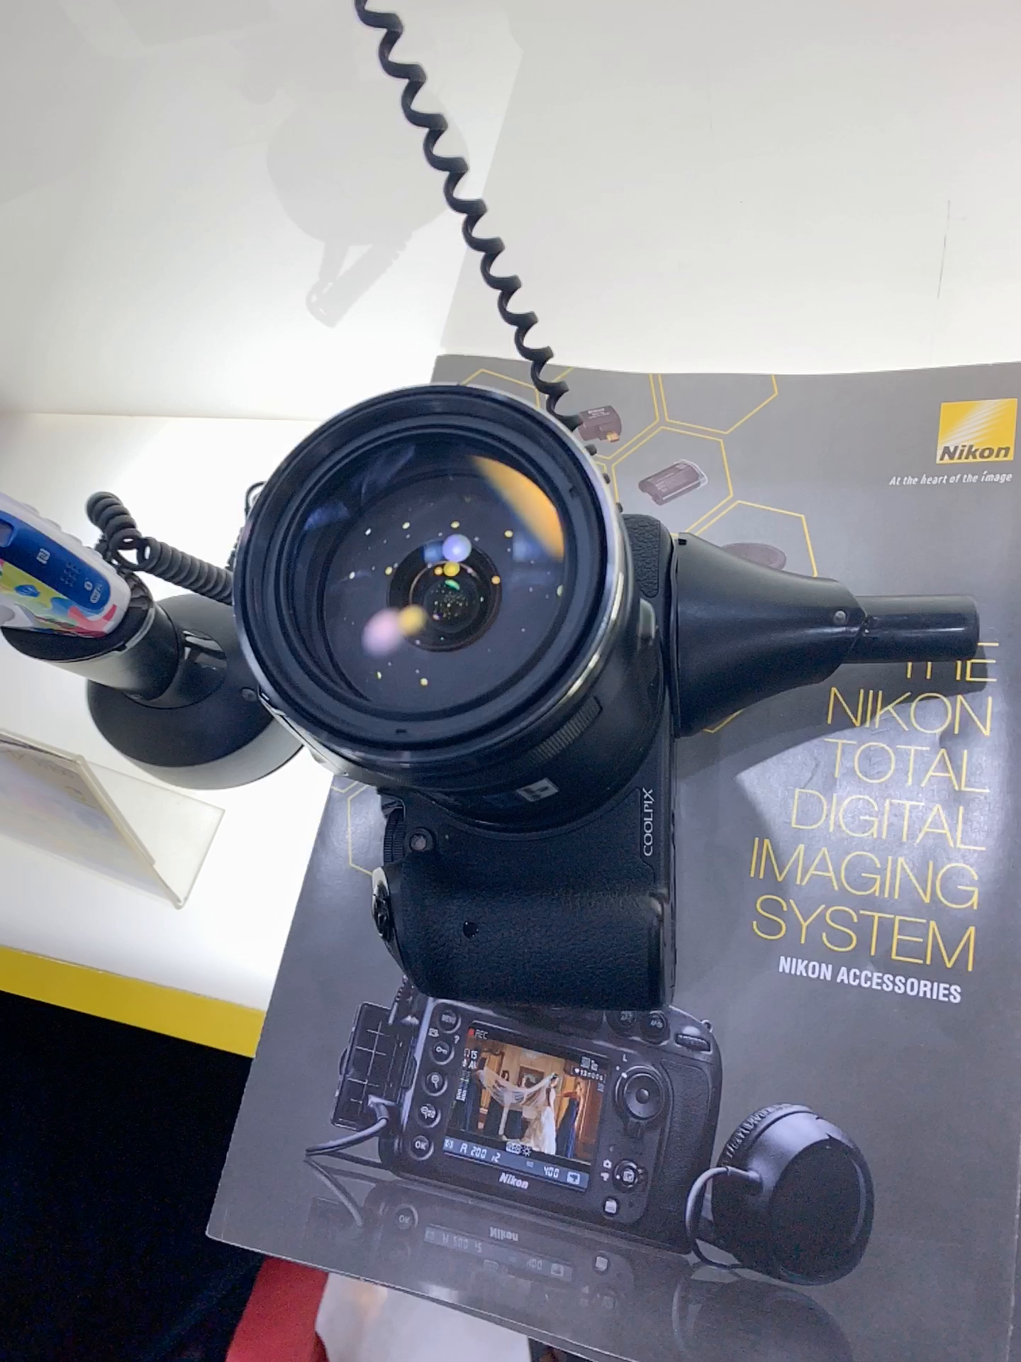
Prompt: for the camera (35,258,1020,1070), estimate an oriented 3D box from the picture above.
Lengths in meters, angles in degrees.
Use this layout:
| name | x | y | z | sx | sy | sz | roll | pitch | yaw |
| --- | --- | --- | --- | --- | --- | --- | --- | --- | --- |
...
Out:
| name | x | y | z | sx | sy | sz | roll | pitch | yaw |
| --- | --- | --- | --- | --- | --- | --- | --- | --- | --- |
| camera | 0.031 | 0.003 | 0.231 | 0.200 | 0.100 | 0.140 | 1 | 70 | 9 |
